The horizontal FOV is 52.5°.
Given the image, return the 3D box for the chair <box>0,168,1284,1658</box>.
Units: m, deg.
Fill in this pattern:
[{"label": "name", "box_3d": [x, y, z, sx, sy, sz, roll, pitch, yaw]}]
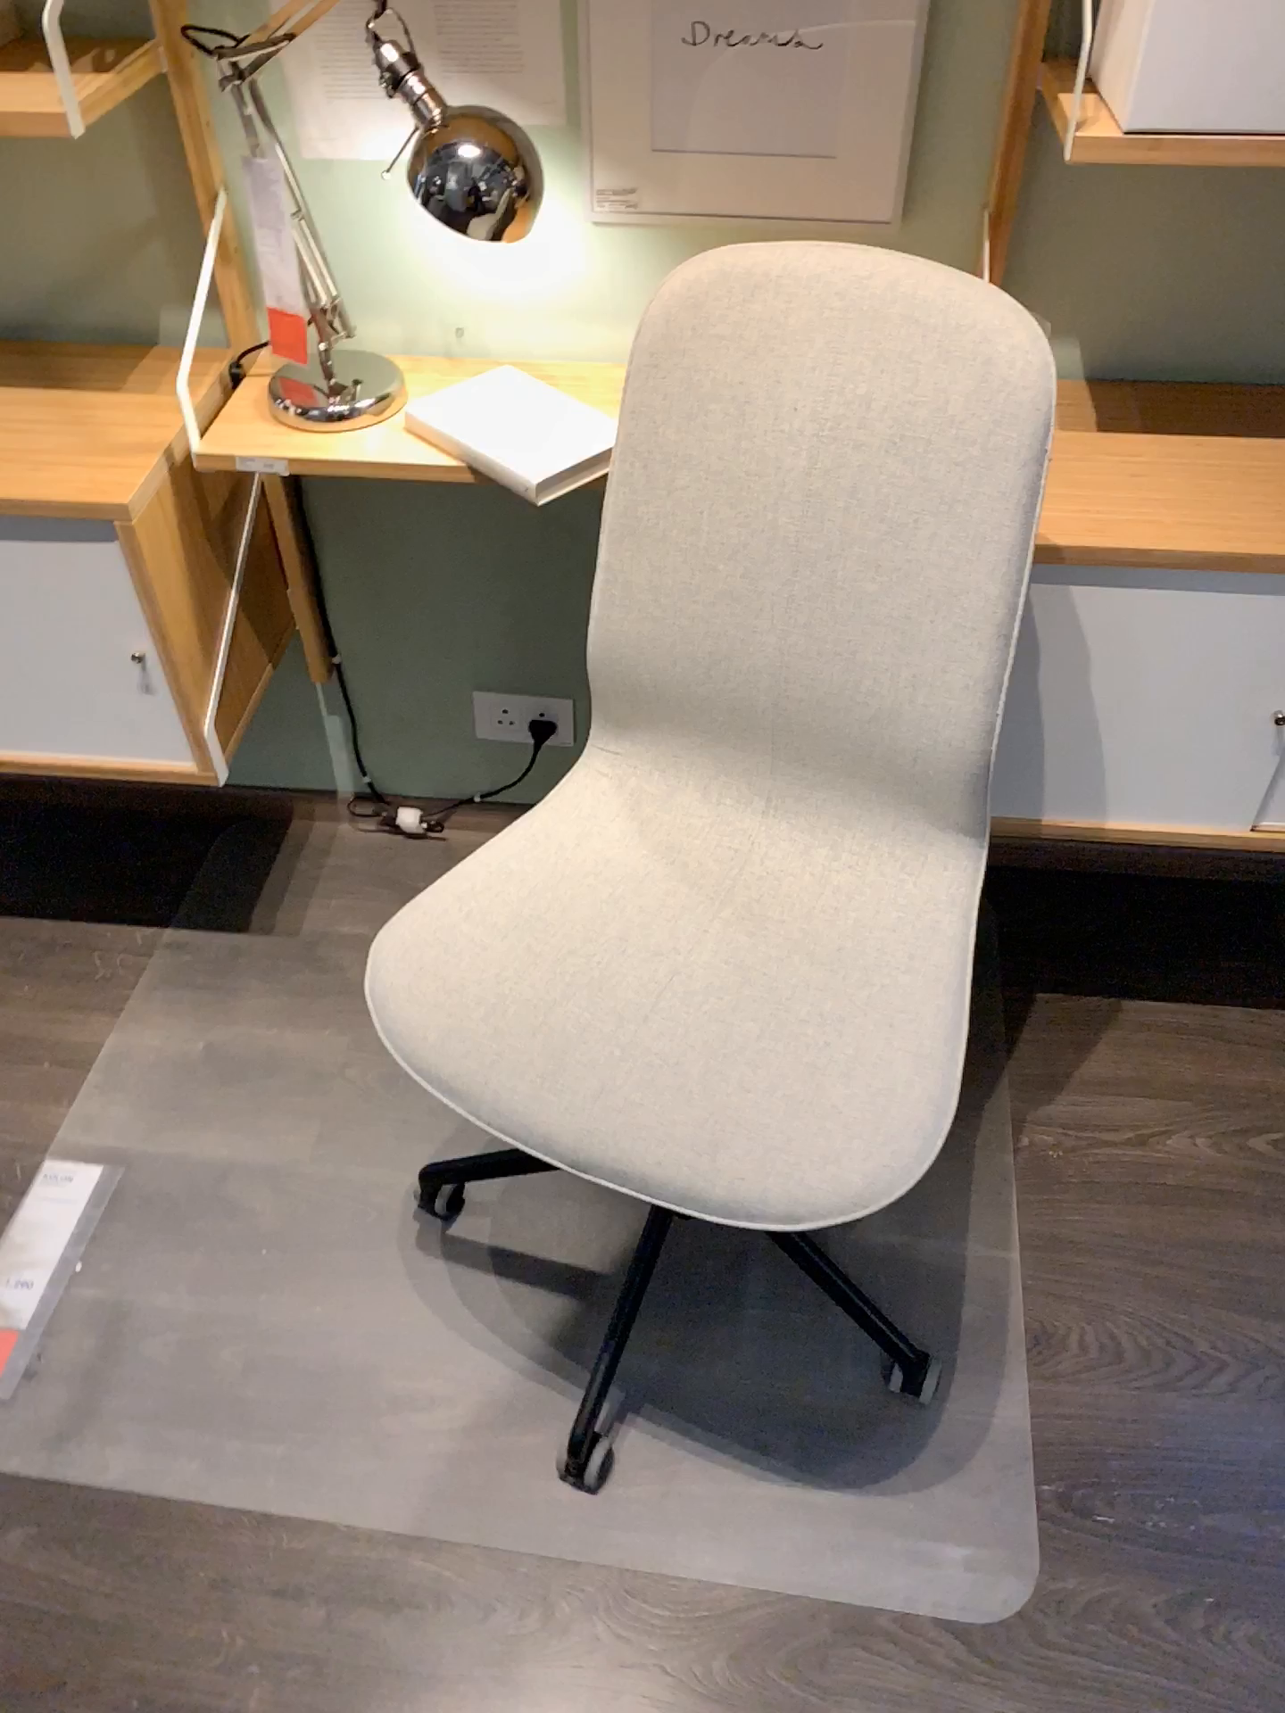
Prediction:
[{"label": "chair", "box_3d": [0.064, 0.074, 1.171, 0.670, 1.016, 0.672, 17, 47, 17]}]
